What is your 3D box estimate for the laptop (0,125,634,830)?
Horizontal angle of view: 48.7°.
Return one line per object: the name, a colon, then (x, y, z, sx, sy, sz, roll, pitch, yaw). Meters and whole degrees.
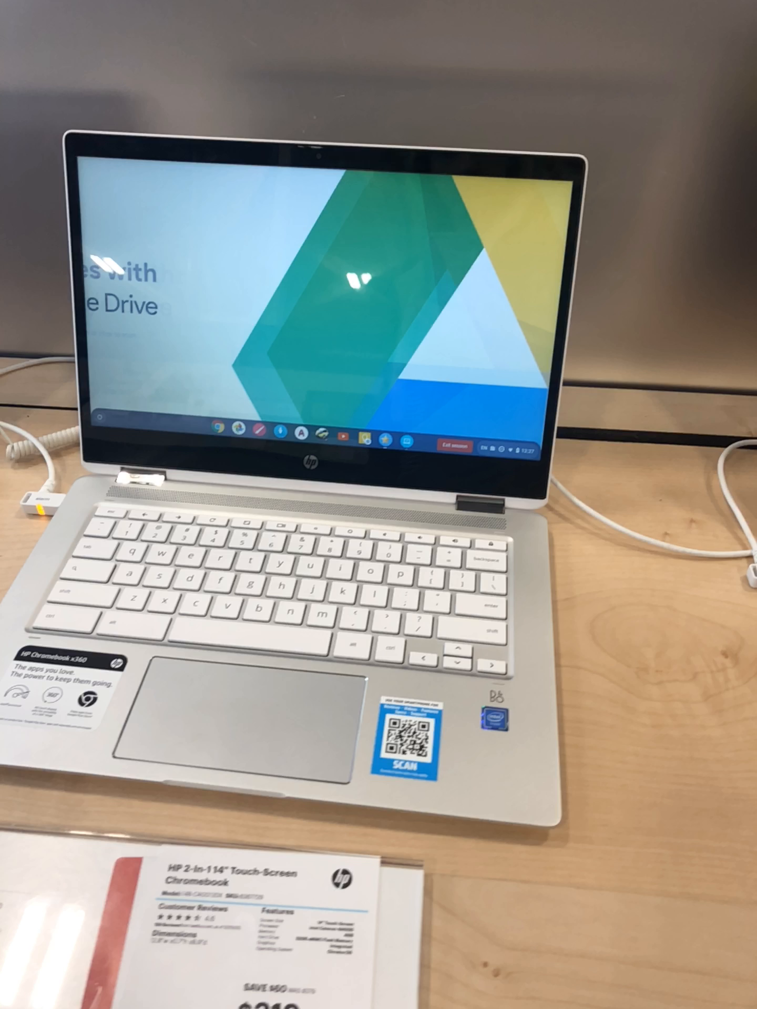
laptop: (-0.060, -0.041, 0.466, 0.323, 0.205, 0.320, 5, 42, 4)
